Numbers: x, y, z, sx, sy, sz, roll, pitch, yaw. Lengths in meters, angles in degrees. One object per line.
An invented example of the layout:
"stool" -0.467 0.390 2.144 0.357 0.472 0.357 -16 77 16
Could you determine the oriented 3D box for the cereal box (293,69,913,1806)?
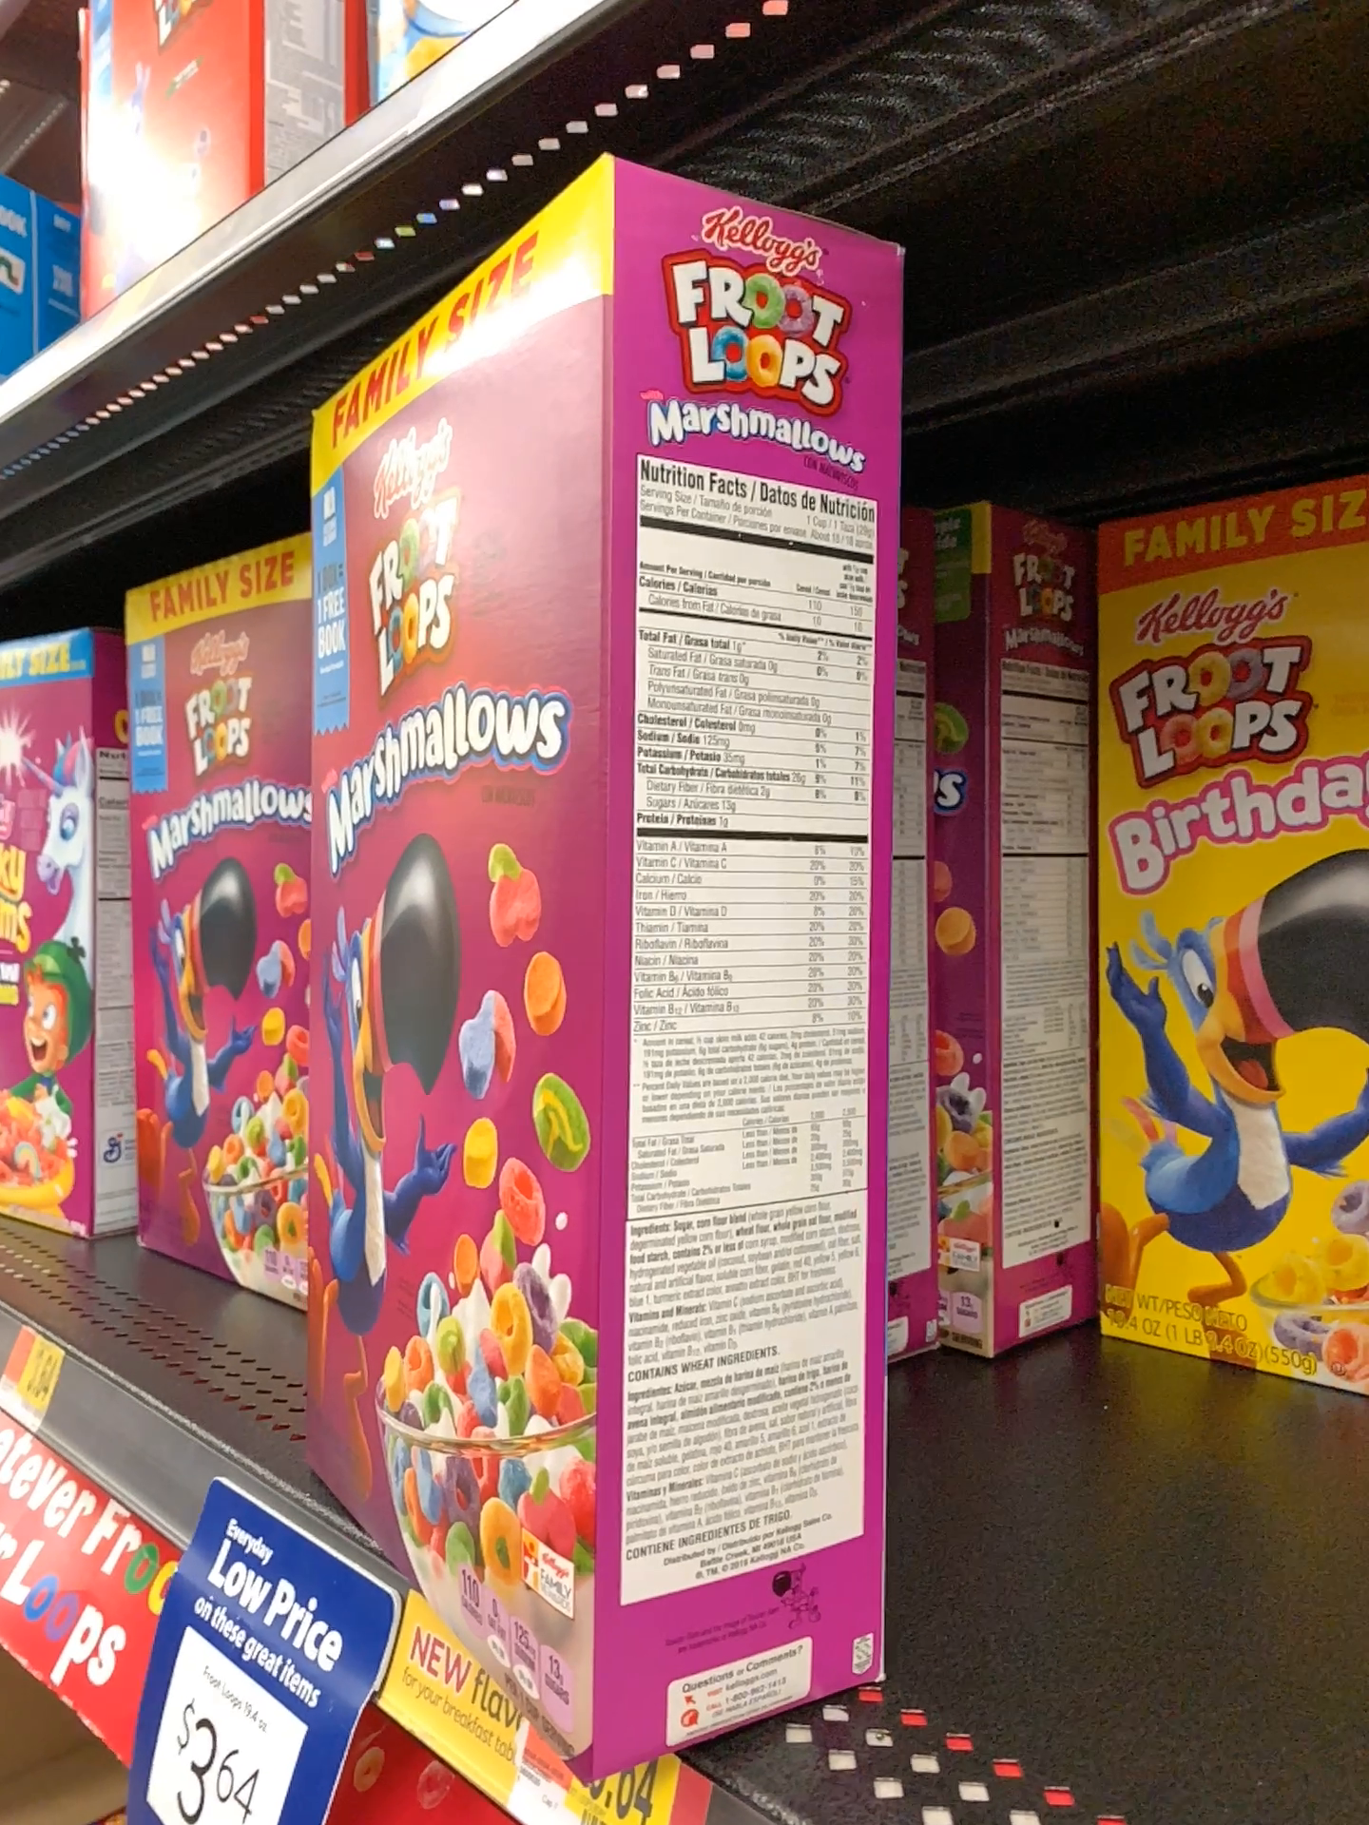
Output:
"cereal box" -0.037 0.003 0.383 0.080 0.340 0.200 0 1 -31
